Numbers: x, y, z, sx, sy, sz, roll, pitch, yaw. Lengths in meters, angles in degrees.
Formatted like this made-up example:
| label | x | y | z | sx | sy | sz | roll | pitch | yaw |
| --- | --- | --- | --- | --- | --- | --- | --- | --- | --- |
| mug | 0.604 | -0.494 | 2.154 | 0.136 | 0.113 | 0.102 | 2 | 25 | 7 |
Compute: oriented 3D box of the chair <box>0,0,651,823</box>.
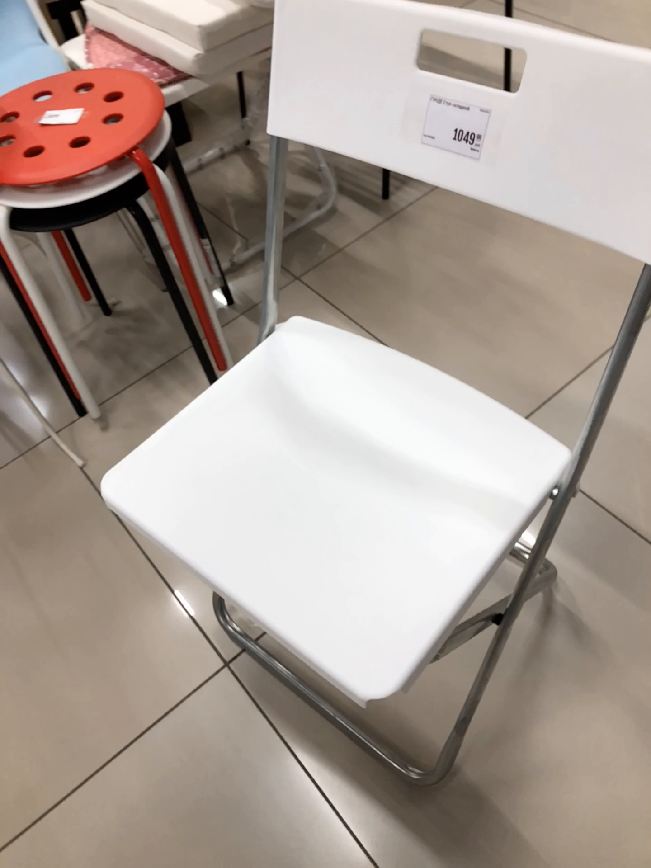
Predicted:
| label | x | y | z | sx | sy | sz | roll | pitch | yaw |
| --- | --- | --- | --- | --- | --- | --- | --- | --- | --- |
| chair | 0.042 | 0.017 | 0.768 | 0.426 | 0.712 | 0.431 | 31 | 63 | 28 |
